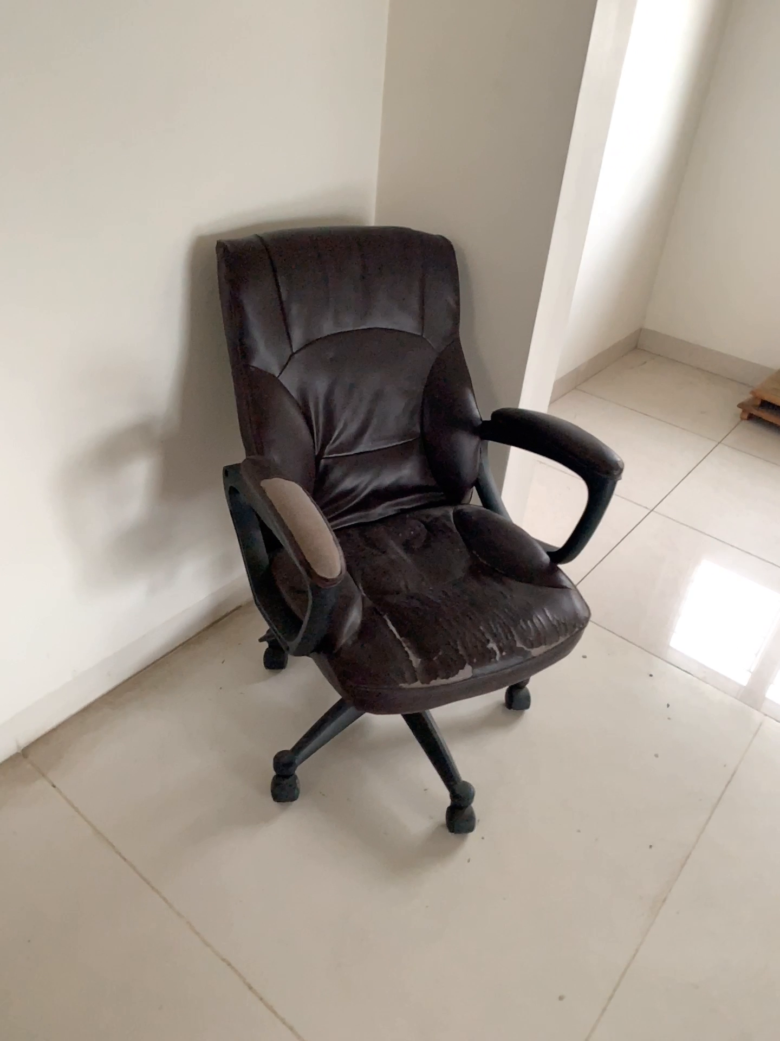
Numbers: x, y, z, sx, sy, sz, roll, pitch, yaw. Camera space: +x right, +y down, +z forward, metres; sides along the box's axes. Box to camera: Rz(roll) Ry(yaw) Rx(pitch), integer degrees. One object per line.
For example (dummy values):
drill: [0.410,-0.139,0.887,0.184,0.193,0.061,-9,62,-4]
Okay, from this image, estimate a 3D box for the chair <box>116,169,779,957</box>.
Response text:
chair: [0.019,0.009,1.415,0.701,0.996,0.793,-14,40,-25]
